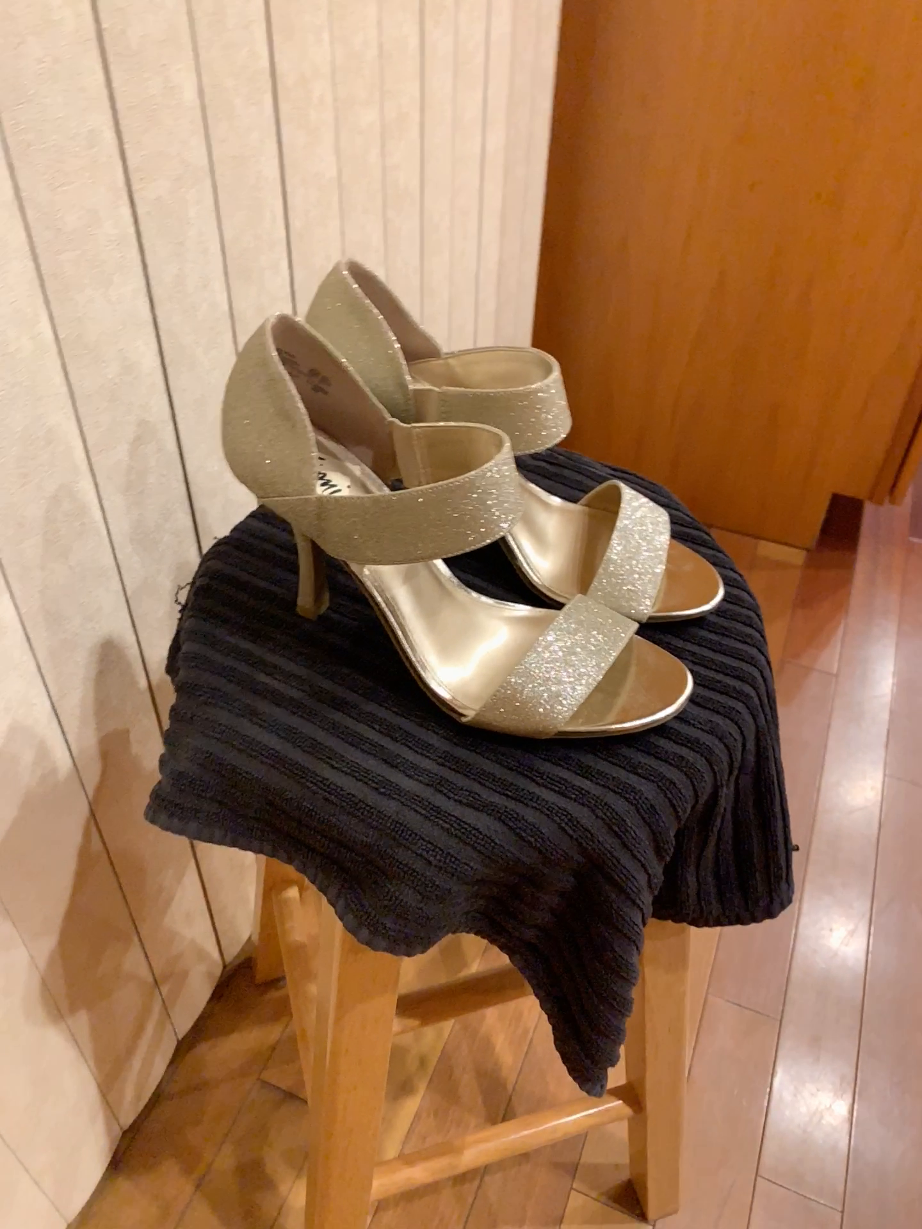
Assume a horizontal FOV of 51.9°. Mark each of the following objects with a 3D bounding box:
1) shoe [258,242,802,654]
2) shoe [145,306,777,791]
[{"bbox_3d":[0.030,-0.089,0.484,0.237,0.129,0.090,17,44,16],"label":"shoe"},{"bbox_3d":[-0.002,-0.035,0.424,0.235,0.129,0.095,17,44,16],"label":"shoe"}]
